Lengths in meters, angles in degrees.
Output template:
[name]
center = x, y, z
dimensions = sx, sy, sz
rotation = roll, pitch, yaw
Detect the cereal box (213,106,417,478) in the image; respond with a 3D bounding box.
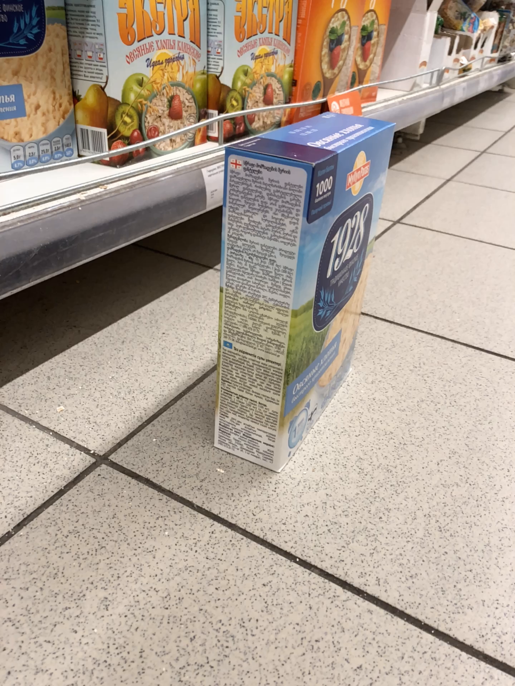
[cereal box]
center = 0.038, -0.040, 0.382
dimensions = 0.060, 0.199, 0.151
rotation = 18, 34, 21
